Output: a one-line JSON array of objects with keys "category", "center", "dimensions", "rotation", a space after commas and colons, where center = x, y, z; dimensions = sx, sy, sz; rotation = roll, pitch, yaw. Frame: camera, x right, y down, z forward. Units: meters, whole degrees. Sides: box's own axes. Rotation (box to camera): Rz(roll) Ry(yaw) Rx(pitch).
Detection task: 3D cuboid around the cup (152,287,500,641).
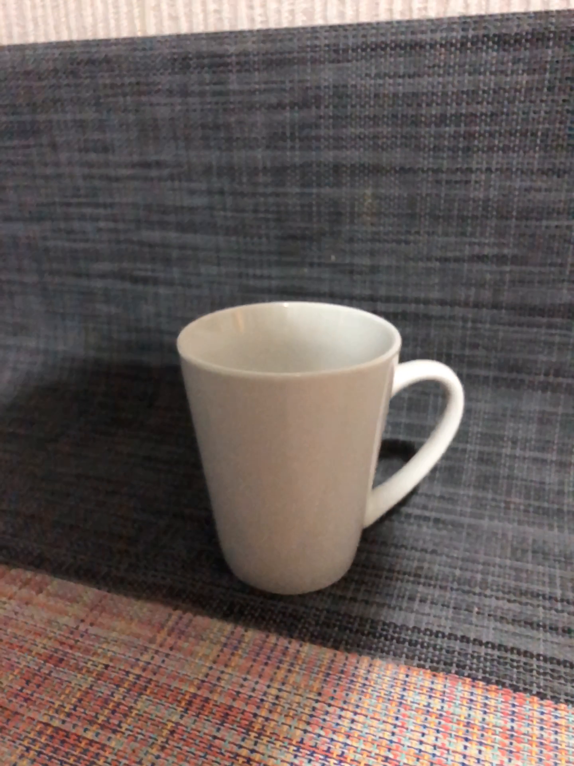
[{"category": "cup", "center": [0.006, 0.023, 0.262], "dimensions": [0.111, 0.096, 0.097], "rotation": [-5, 23, -10]}]
